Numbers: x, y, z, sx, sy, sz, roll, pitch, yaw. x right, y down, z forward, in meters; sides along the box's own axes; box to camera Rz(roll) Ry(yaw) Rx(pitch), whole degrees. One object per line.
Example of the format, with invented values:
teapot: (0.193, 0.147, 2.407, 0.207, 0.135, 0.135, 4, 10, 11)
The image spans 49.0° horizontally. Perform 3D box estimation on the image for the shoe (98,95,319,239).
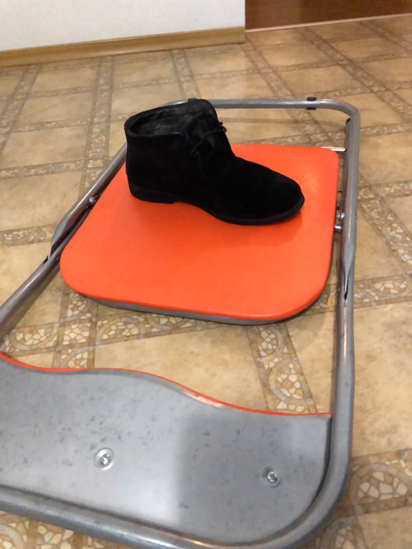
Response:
shoe: (0.006, -0.158, 0.637, 0.270, 0.129, 0.111, 13, 43, 19)
